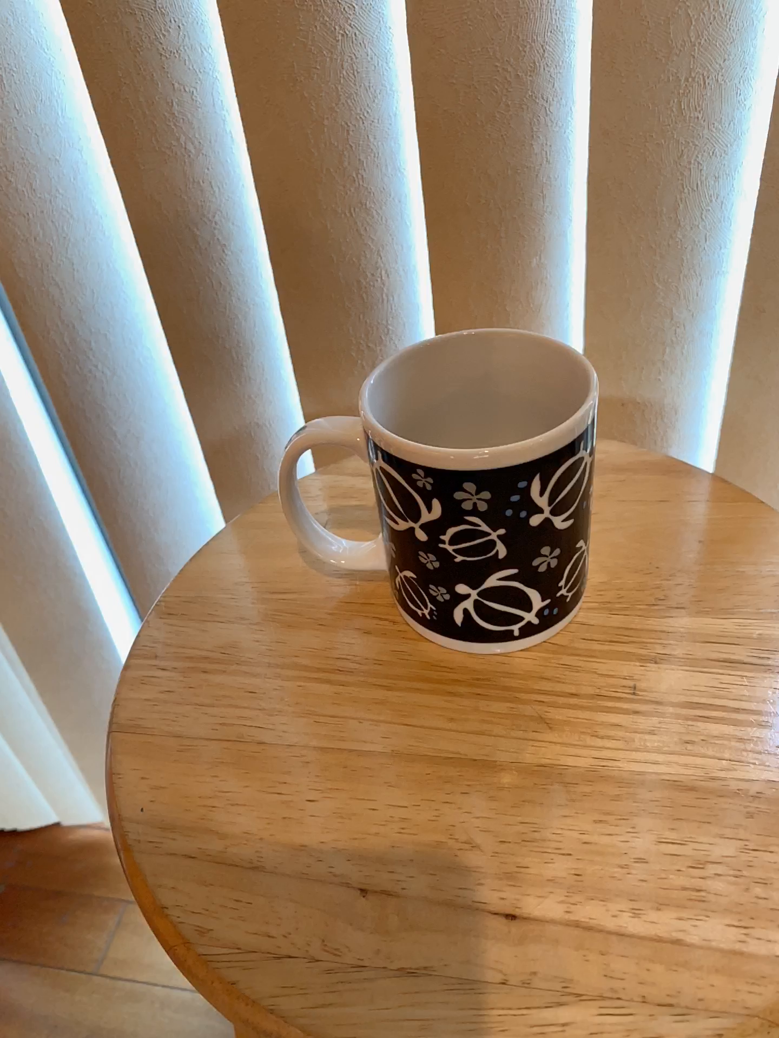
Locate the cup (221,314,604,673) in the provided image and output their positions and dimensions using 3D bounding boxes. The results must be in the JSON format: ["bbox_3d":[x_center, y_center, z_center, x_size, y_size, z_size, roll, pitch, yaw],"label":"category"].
[{"bbox_3d":[0.018,-0.014,0.317,0.120,0.099,0.090,4,40,15],"label":"cup"}]
